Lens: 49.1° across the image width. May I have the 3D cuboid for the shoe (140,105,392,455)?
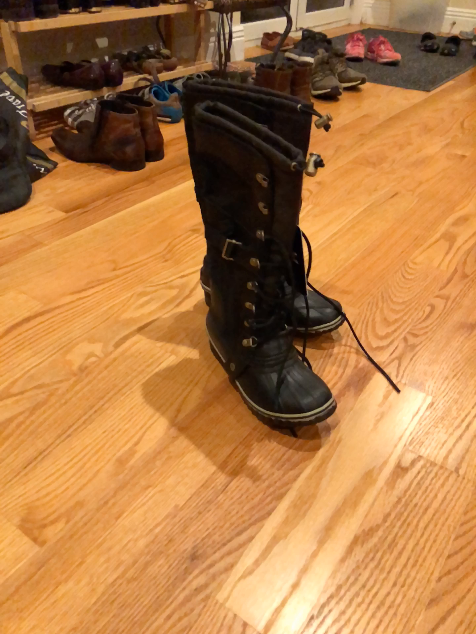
[{"bbox_3d":[0.011,-0.049,0.602,0.100,0.308,0.261,-24,43,-31],"label":"shoe"}]

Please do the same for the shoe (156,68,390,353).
[{"bbox_3d":[0.037,-0.142,0.715,0.260,0.328,0.101,16,38,19],"label":"shoe"}]
